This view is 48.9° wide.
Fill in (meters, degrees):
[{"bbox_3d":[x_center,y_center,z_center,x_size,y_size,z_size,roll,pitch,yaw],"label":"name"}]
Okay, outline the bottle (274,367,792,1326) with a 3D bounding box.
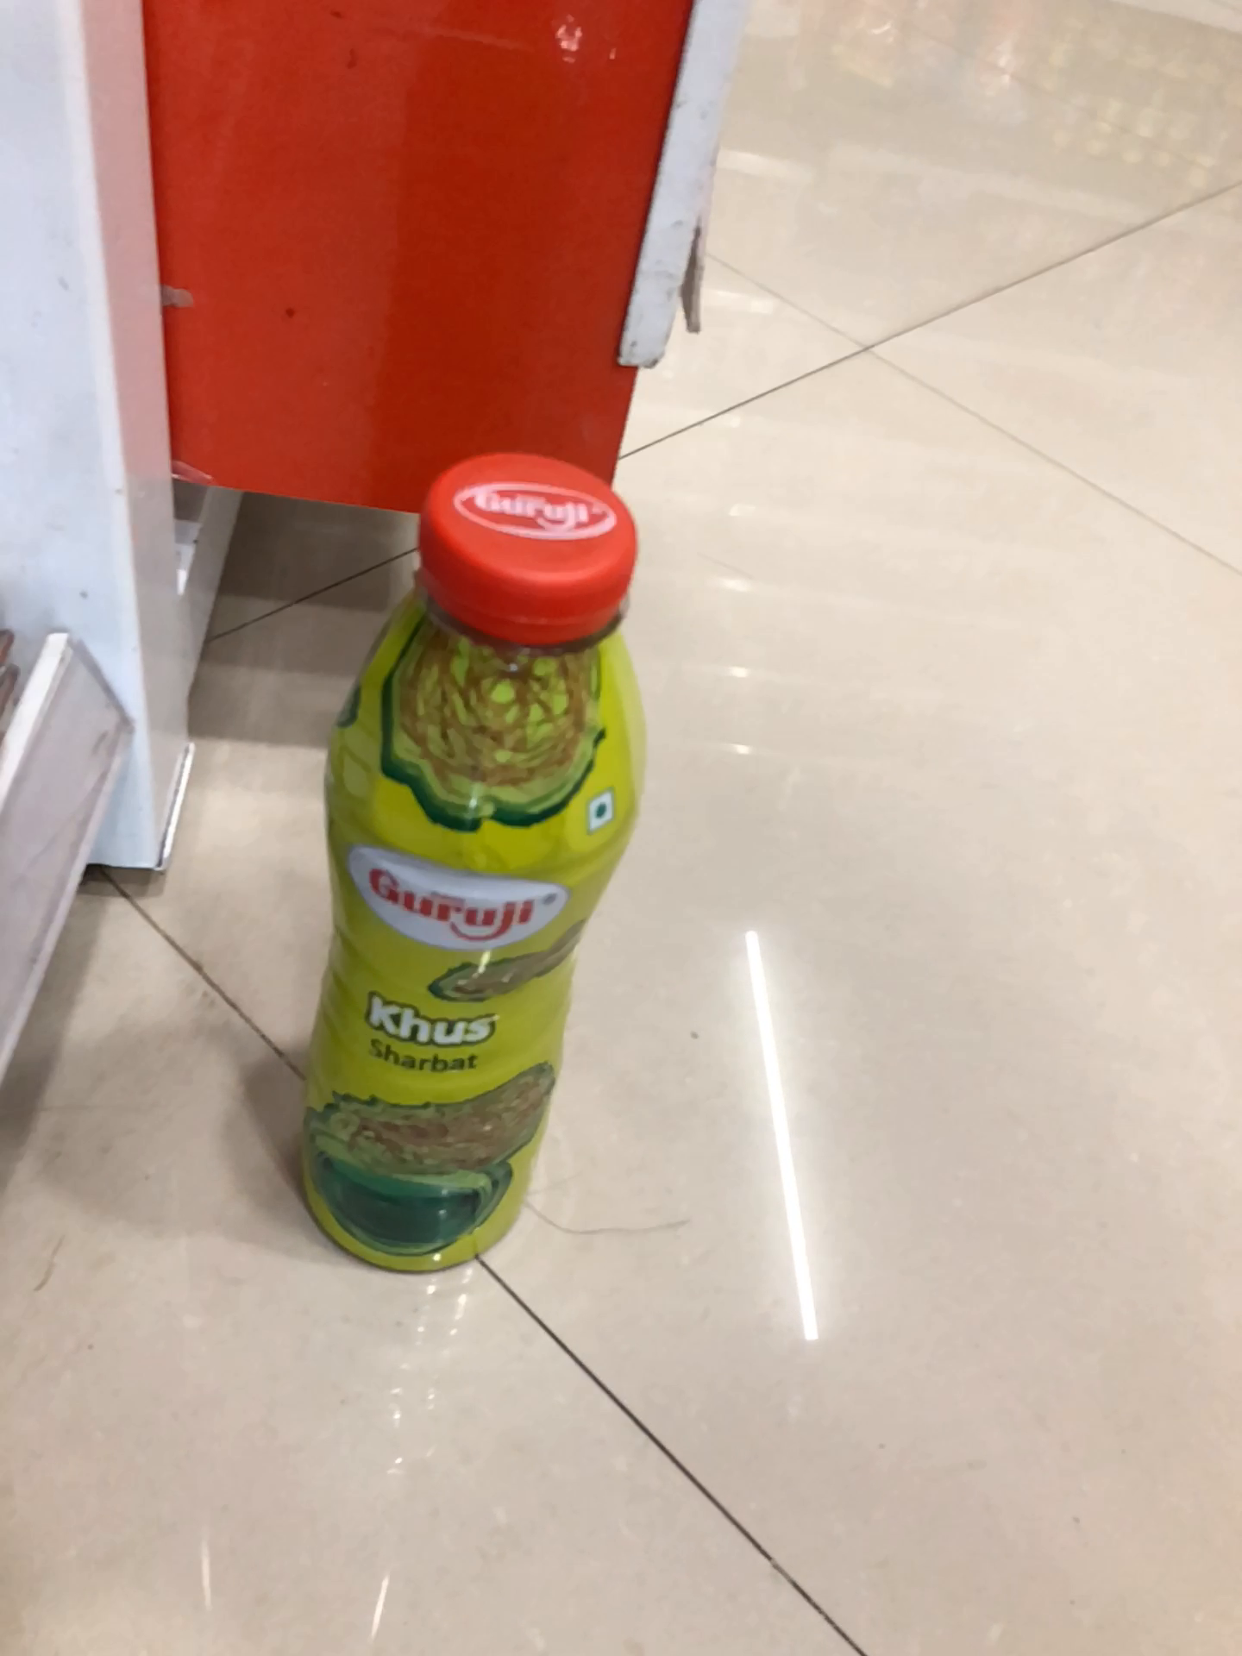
[{"bbox_3d":[-0.032,0.025,0.332,0.080,0.238,0.081,7,47,-8],"label":"bottle"}]
